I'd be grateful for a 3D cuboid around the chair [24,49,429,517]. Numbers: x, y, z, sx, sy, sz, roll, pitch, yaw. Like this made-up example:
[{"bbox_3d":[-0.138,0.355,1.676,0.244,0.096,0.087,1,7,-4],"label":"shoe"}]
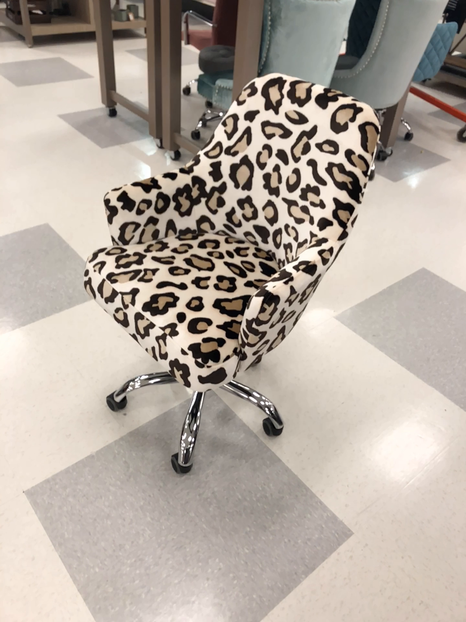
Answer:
[{"bbox_3d":[-0.051,-0.093,1.329,0.581,0.888,0.601,-26,49,-33],"label":"chair"}]
